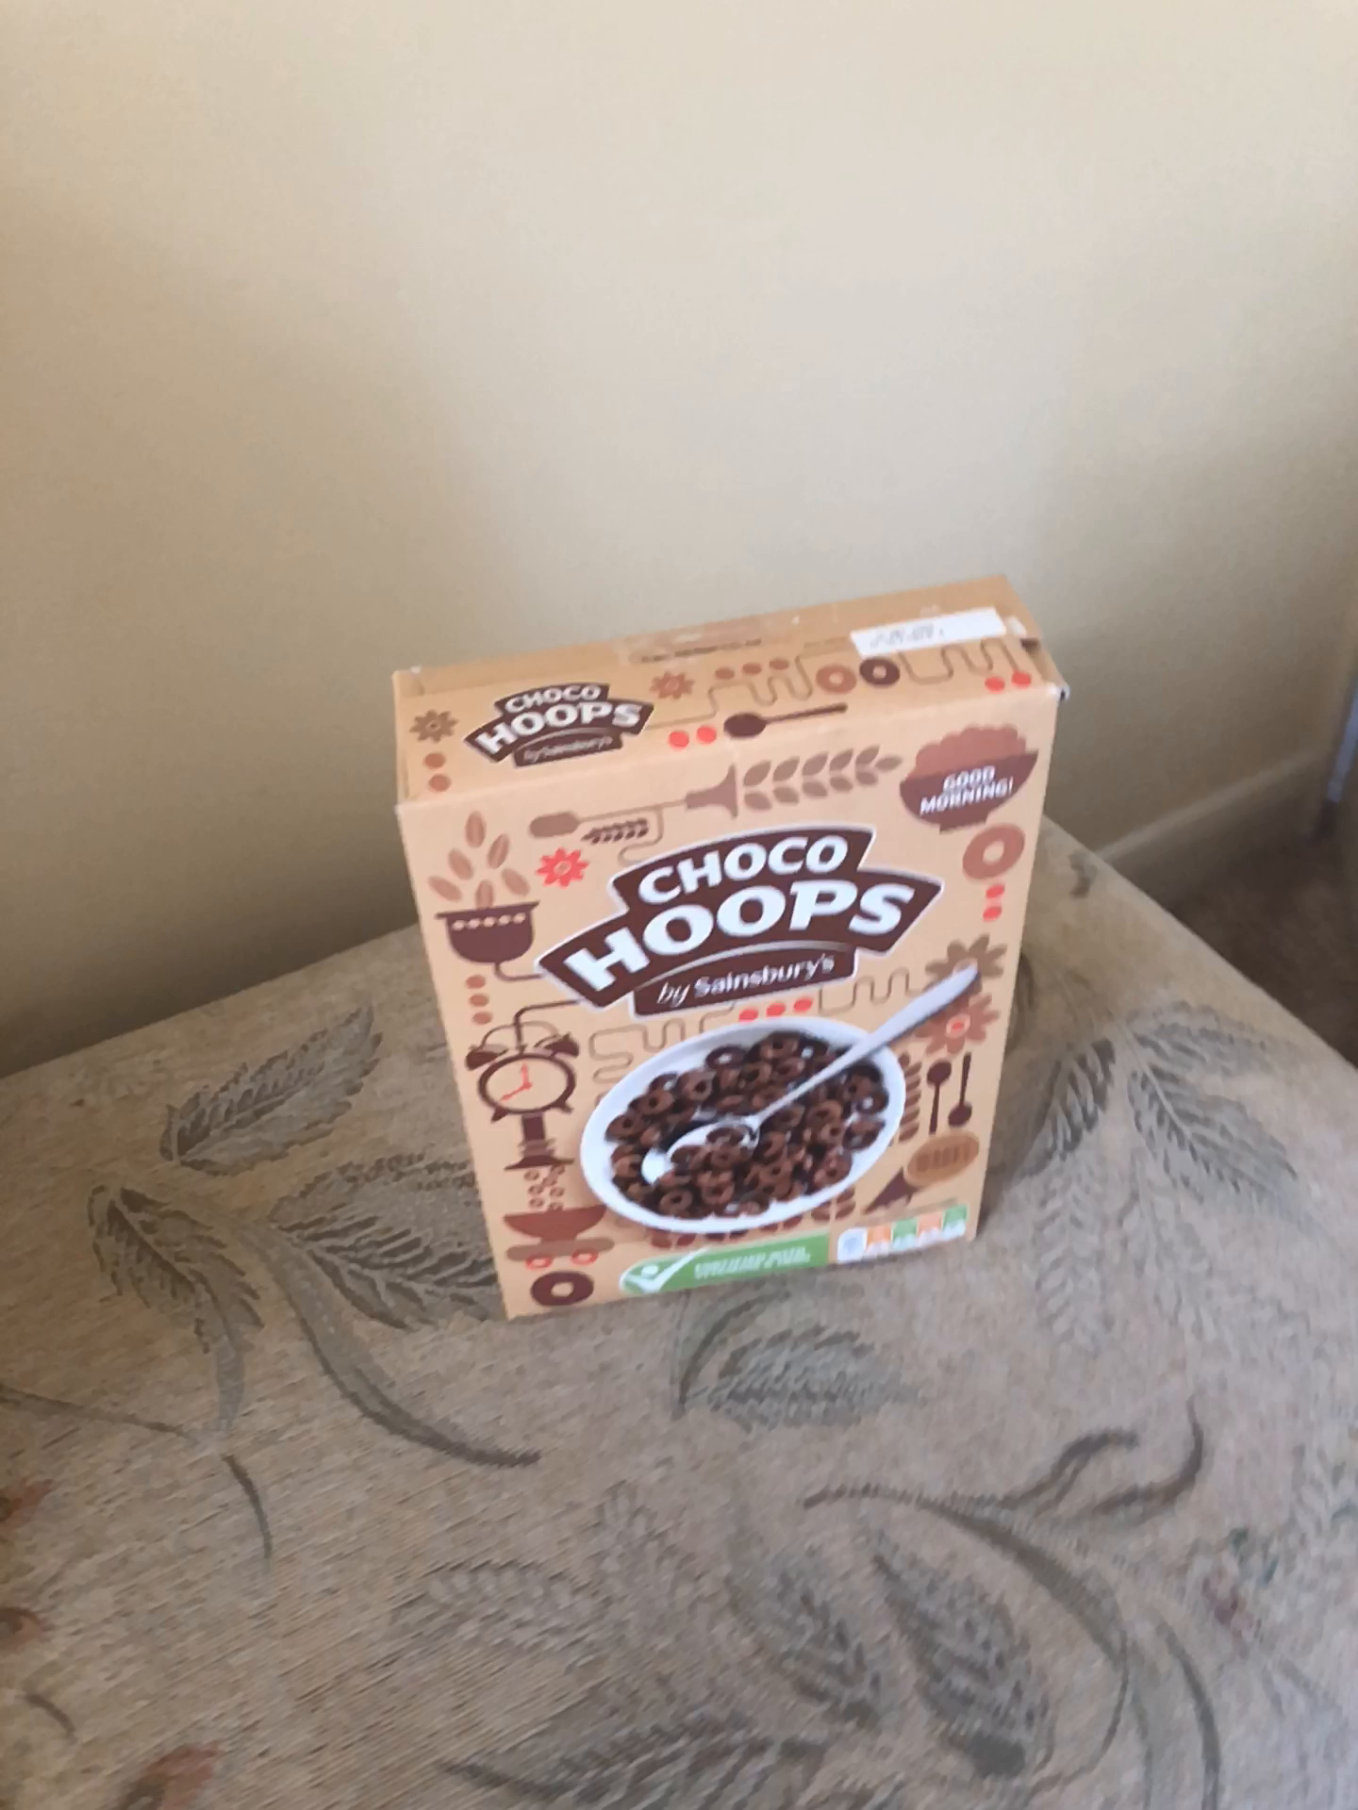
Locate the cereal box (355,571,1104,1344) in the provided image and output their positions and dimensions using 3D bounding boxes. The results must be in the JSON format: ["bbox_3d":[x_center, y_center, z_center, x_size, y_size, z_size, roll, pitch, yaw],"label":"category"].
[{"bbox_3d":[0.016,0.030,0.534,0.210,0.258,0.081,-9,43,-7],"label":"cereal box"}]
